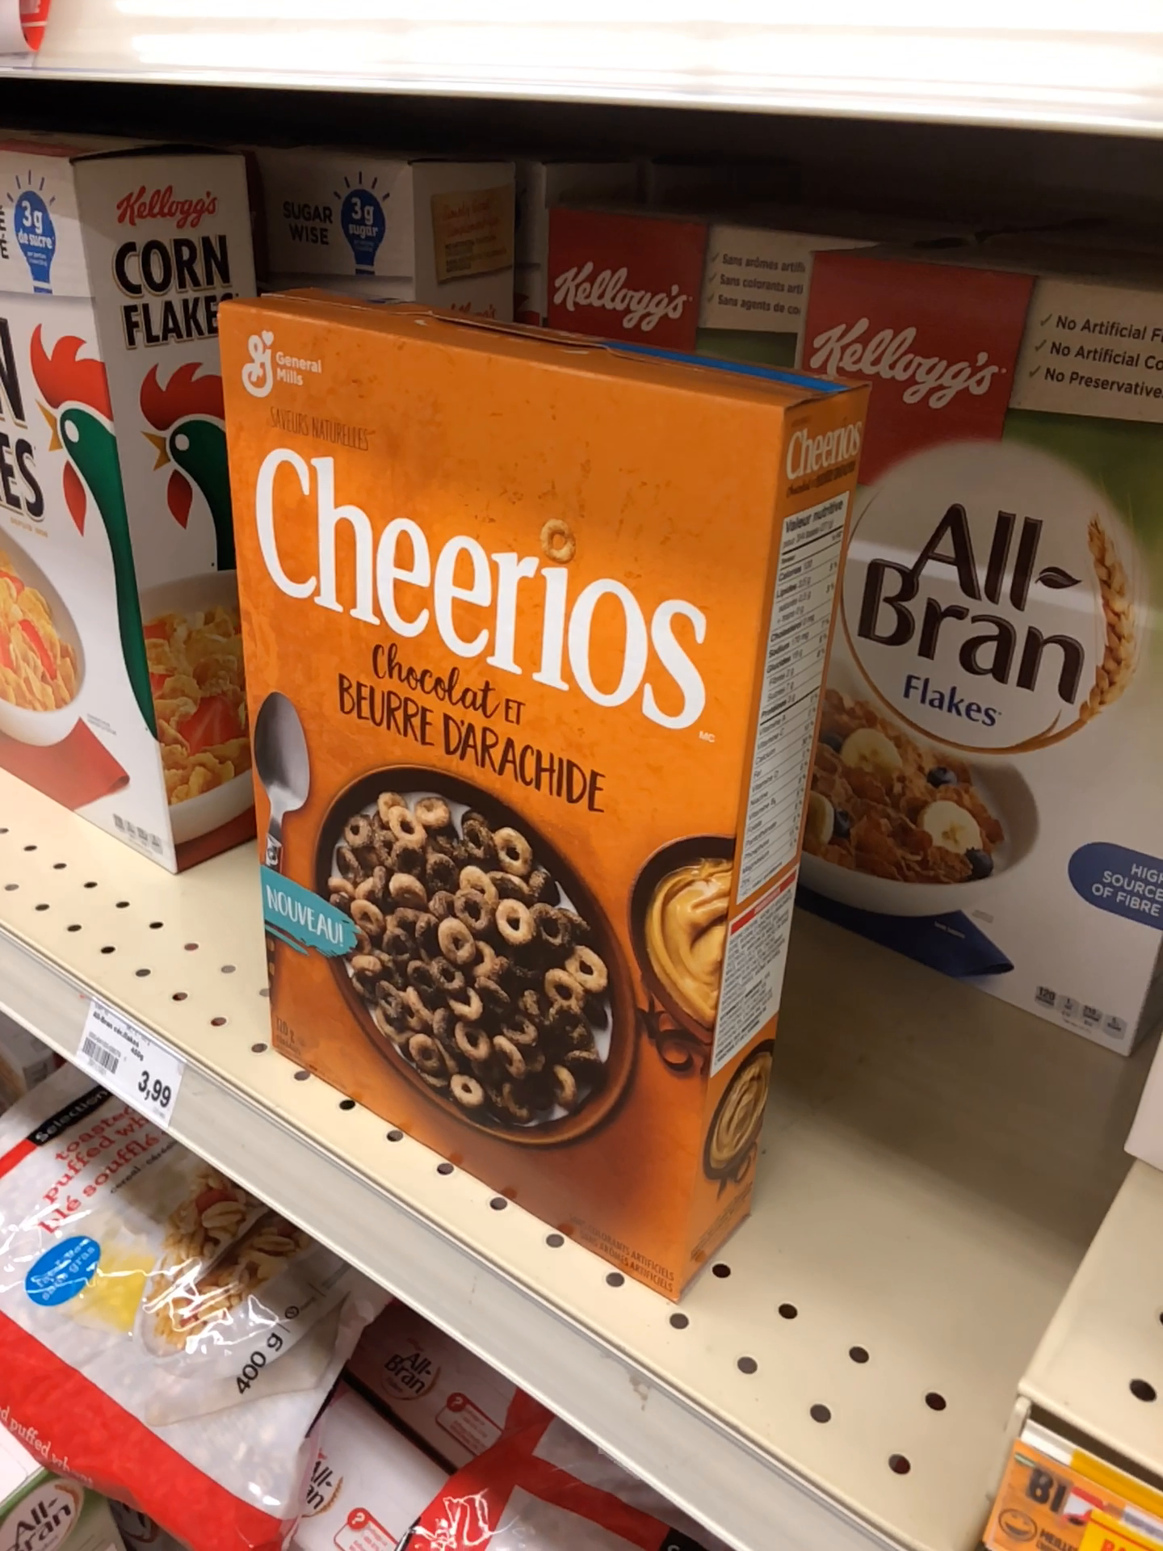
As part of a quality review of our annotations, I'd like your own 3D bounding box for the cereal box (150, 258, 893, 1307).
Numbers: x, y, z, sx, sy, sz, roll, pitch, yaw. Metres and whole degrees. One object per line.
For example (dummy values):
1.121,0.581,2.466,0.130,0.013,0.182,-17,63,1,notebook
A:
-0.031,-0.003,0.395,0.211,0.268,0.050,22,34,32,cereal box
